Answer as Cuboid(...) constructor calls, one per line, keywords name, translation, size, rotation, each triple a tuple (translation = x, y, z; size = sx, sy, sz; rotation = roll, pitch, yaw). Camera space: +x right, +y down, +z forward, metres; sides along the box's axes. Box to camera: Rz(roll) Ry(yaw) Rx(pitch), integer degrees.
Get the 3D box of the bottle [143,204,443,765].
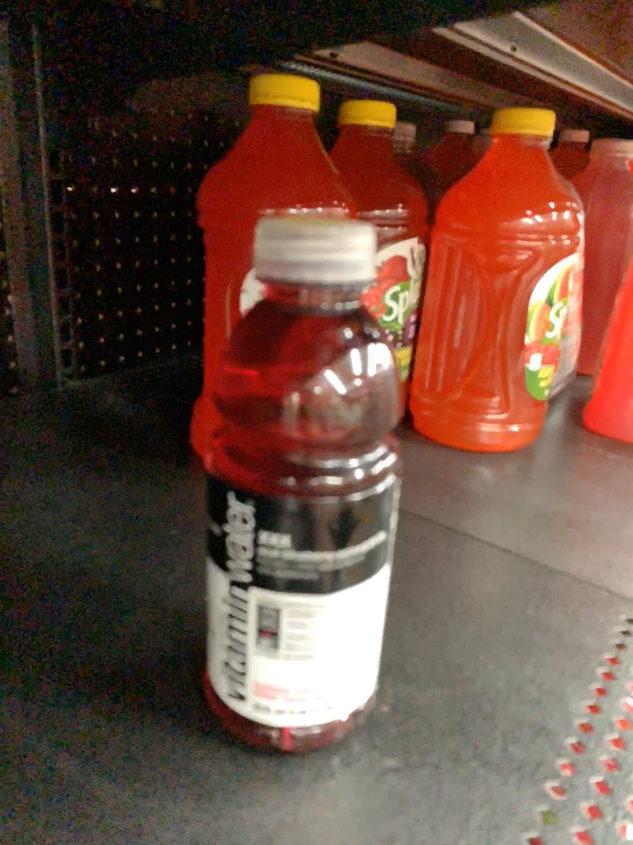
Cuboid(name="bottle", translation=(-0.008, 0.019, 0.238), size=(0.080, 0.179, 0.080), rotation=(4, 22, -2))
